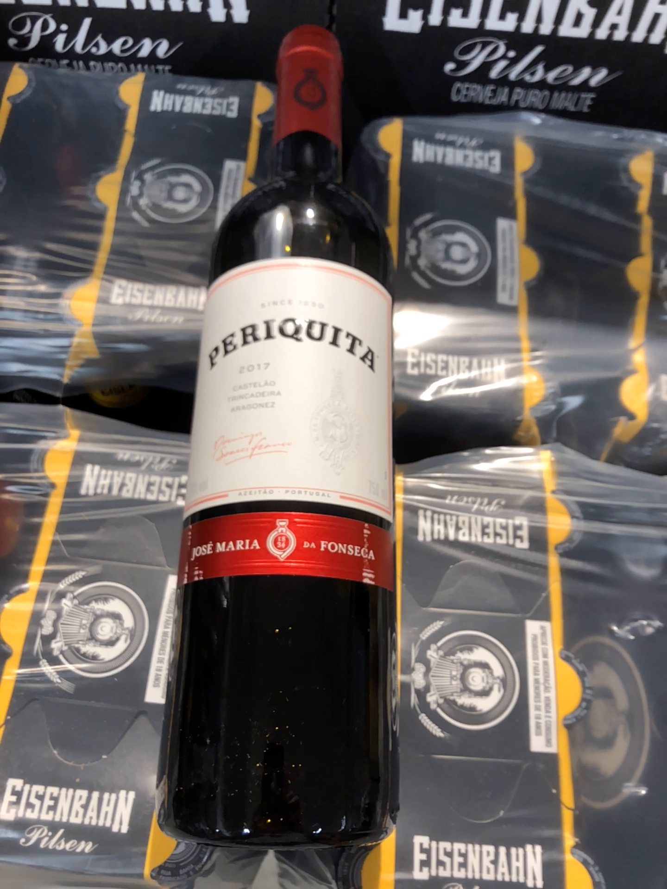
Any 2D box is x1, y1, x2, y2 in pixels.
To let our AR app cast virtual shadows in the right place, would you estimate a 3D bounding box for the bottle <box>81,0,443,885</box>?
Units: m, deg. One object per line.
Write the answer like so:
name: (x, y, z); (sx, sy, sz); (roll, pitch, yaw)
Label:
bottle: (-0.013, -0.044, 0.261); (0.080, 0.070, 0.331); (2, 68, -2)
